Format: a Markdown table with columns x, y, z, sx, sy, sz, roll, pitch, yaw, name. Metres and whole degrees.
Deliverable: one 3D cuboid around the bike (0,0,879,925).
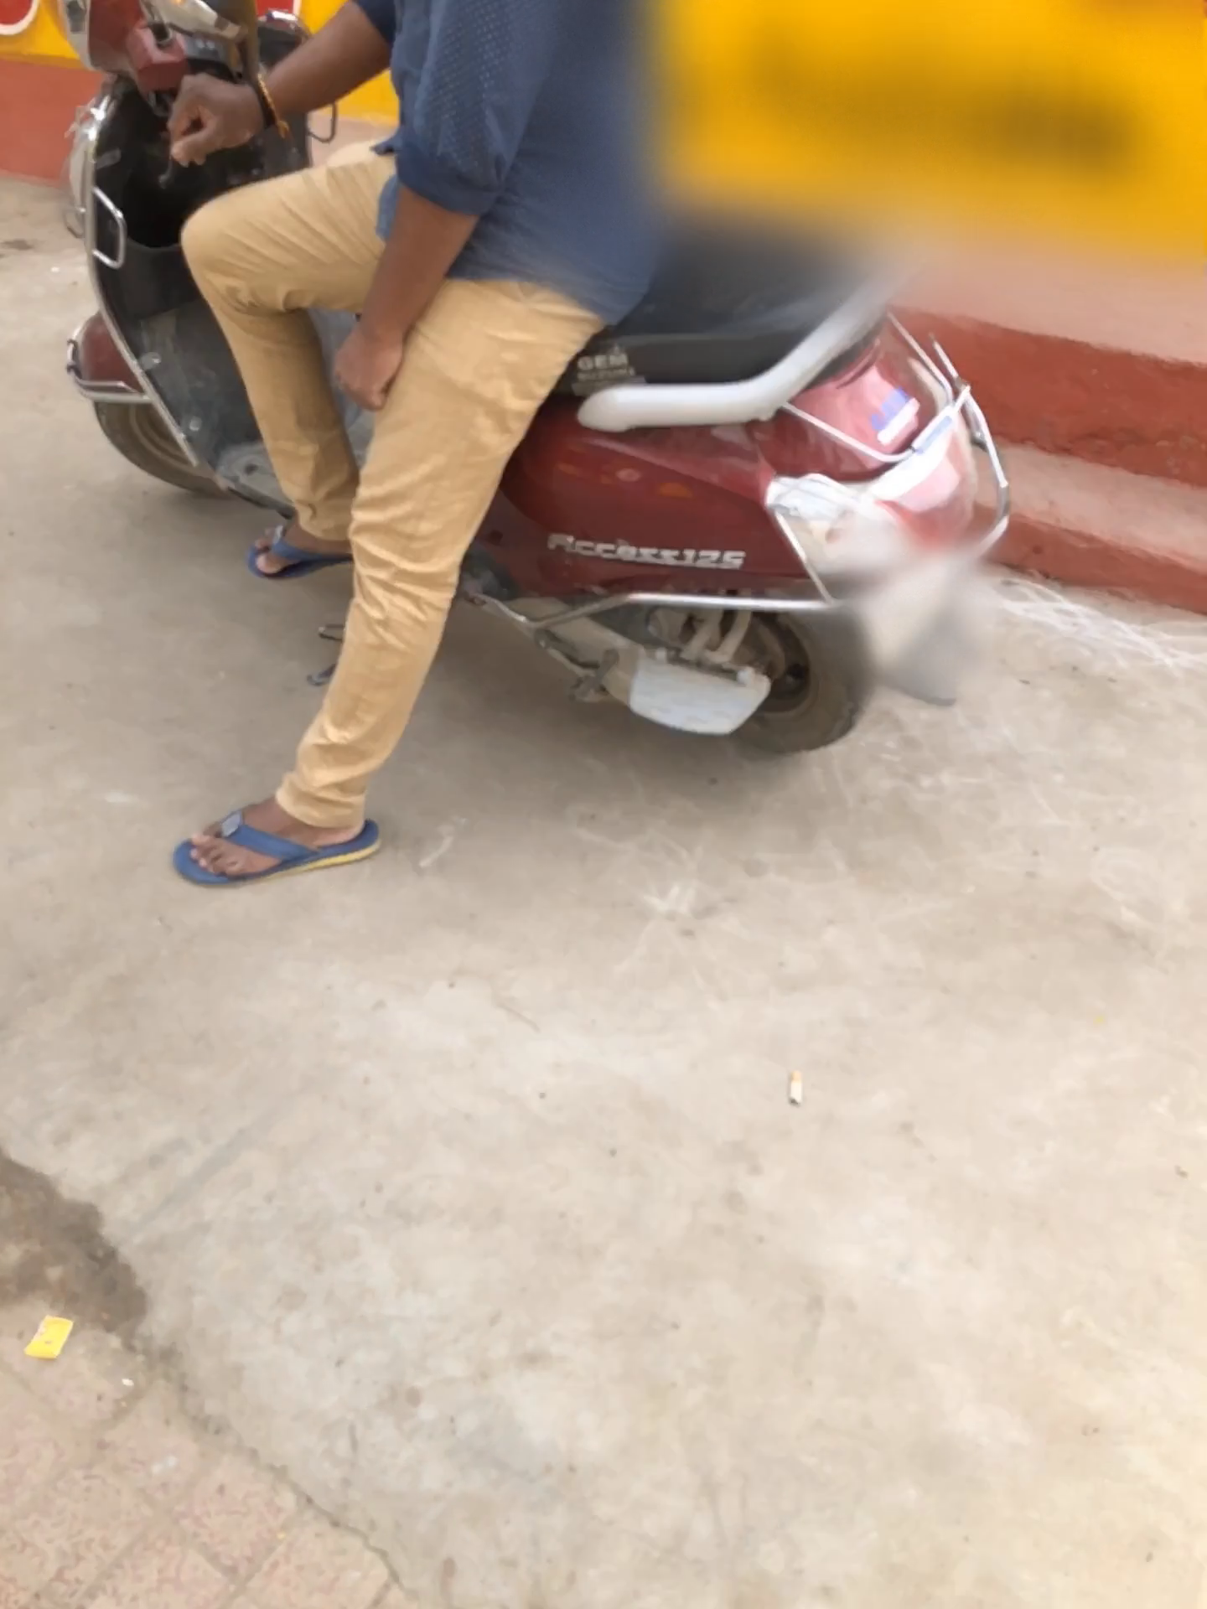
| x | y | z | sx | sy | sz | roll | pitch | yaw | name |
| --- | --- | --- | --- | --- | --- | --- | --- | --- | --- |
| -0.494 | -0.657 | 1.826 | 1.376 | 1.087 | 0.632 | 21 | 41 | 21 | bike |
